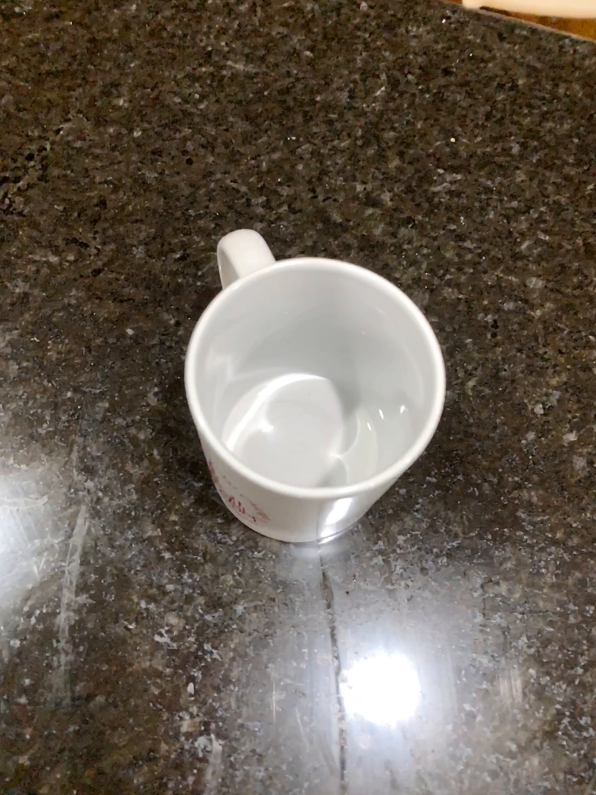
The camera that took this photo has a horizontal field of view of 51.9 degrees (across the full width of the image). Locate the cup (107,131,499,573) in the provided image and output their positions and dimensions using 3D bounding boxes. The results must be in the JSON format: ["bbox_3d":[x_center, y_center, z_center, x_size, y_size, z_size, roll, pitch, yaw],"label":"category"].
[{"bbox_3d":[-0.005,-0.012,0.242,0.081,0.098,0.124,-22,70,-12],"label":"cup"}]
